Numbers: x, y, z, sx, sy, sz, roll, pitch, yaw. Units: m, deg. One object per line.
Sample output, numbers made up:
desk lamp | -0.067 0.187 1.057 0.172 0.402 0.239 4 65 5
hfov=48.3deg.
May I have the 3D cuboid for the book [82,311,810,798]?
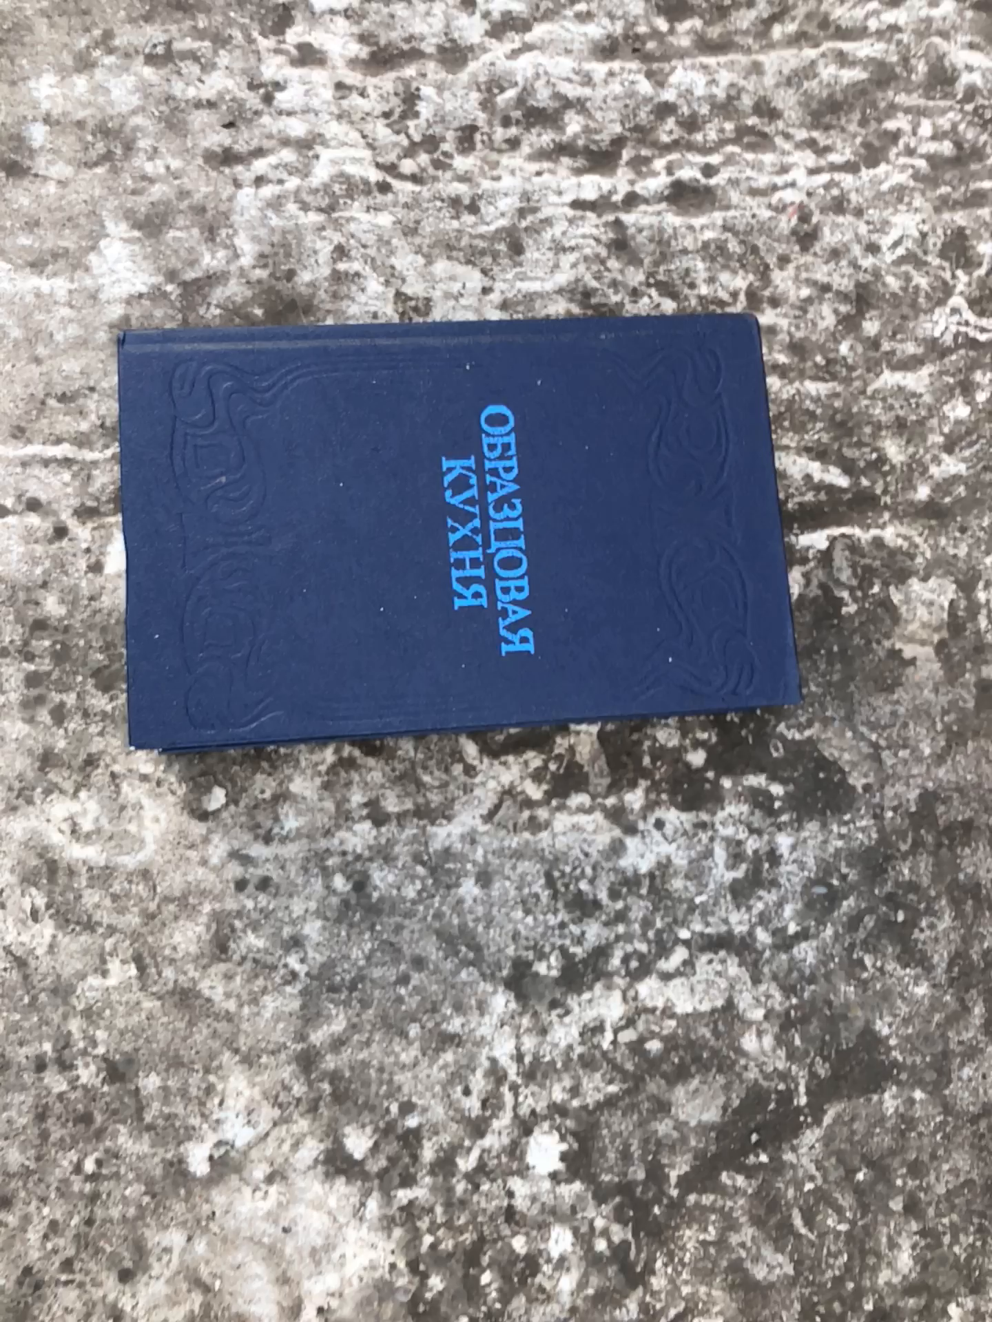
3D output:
book | -0.016 -0.034 0.352 0.210 0.040 0.140 -3 83 -7
